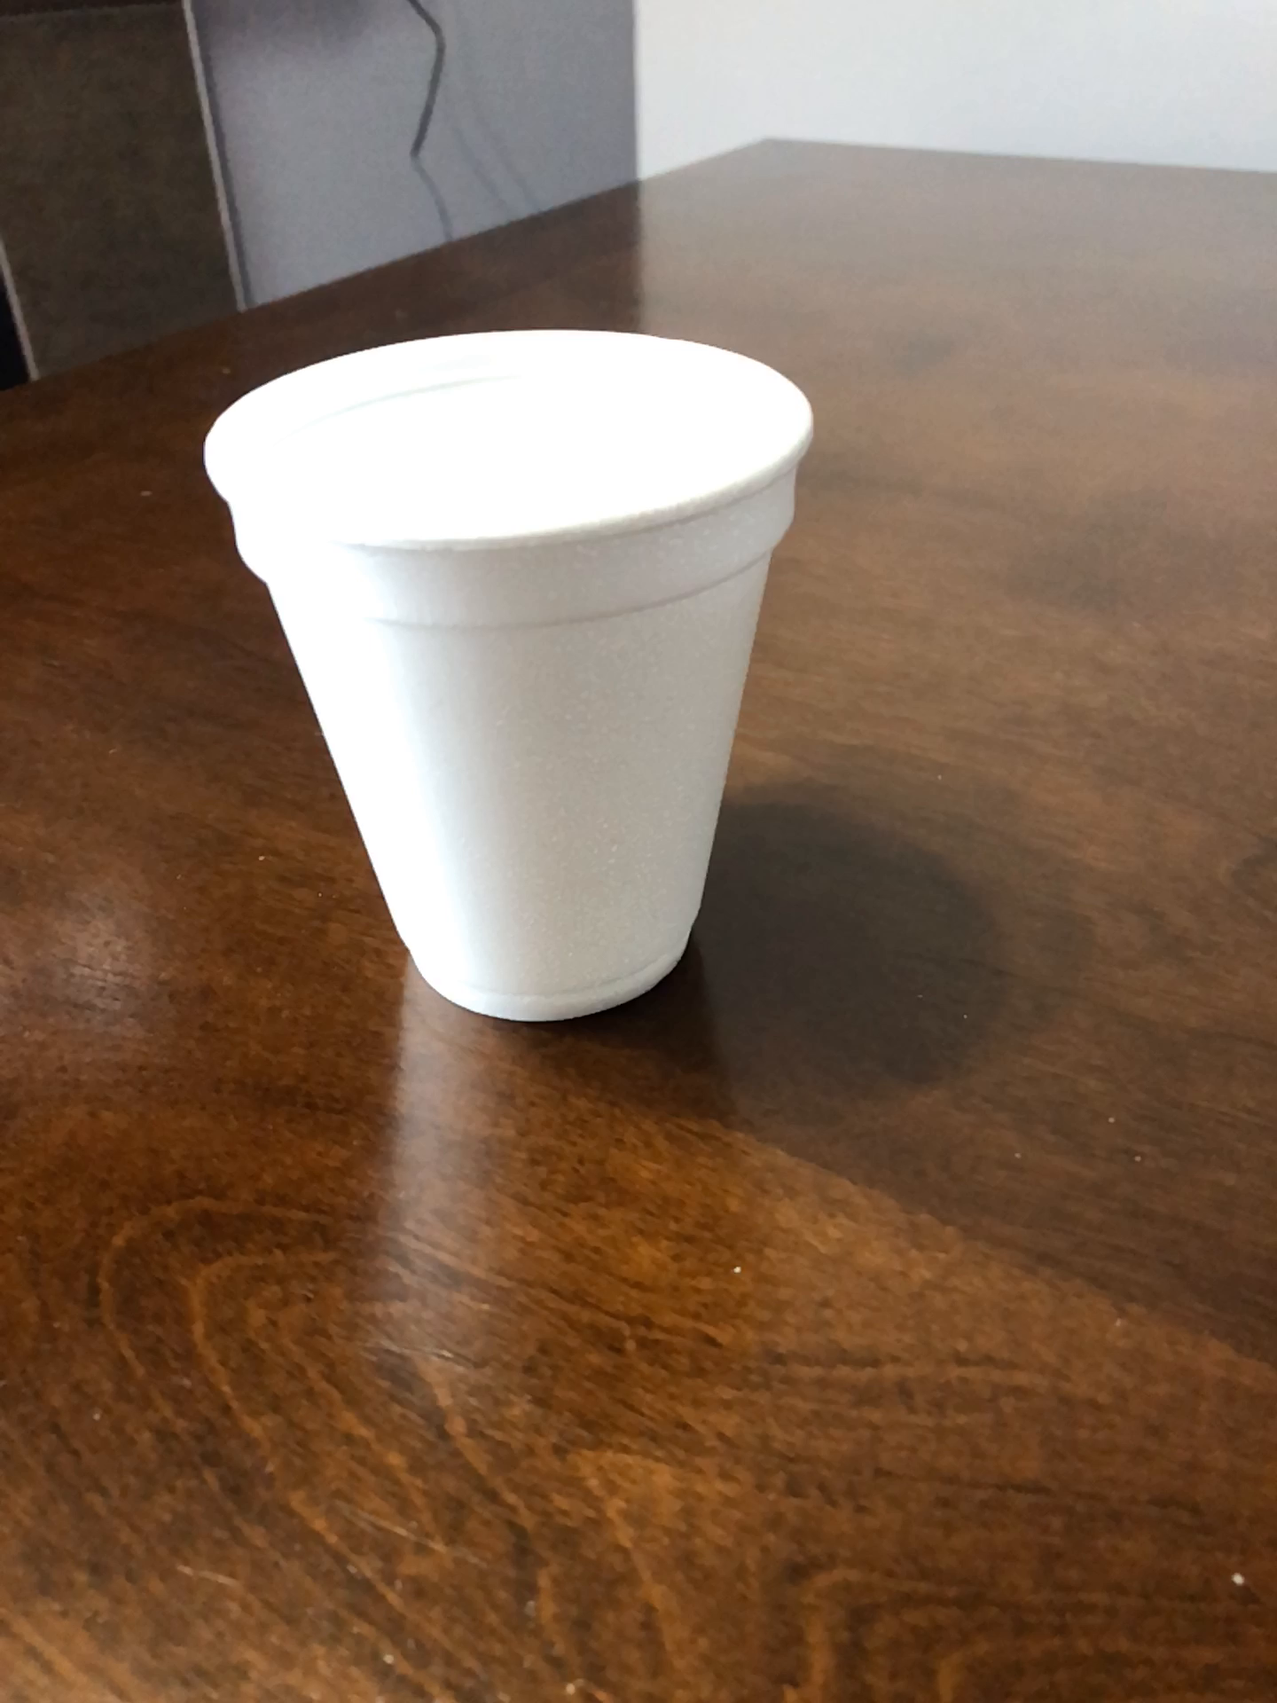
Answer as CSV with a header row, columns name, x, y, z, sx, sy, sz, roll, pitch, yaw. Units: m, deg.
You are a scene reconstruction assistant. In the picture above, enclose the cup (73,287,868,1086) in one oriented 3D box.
name,x,y,z,sx,sy,sz,roll,pitch,yaw
cup,-0.014,-0.029,0.206,0.080,0.080,0.080,-1,34,1
